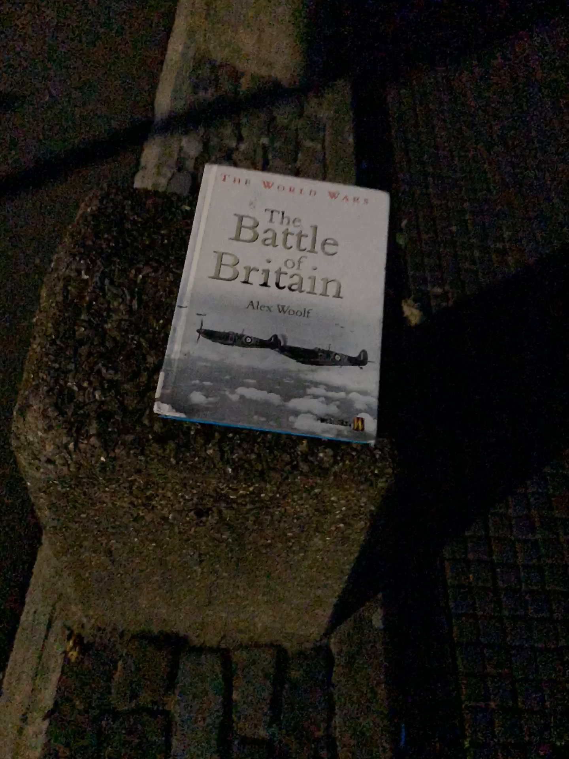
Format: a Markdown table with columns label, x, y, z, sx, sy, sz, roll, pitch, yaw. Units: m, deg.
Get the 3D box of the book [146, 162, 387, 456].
| label | x | y | z | sx | sy | sz | roll | pitch | yaw |
| --- | --- | --- | --- | --- | --- | --- | --- | --- | --- |
| book | -0.005 | -0.068 | 0.492 | 0.170 | 0.020 | 0.246 | 9 | 67 | -3 |
